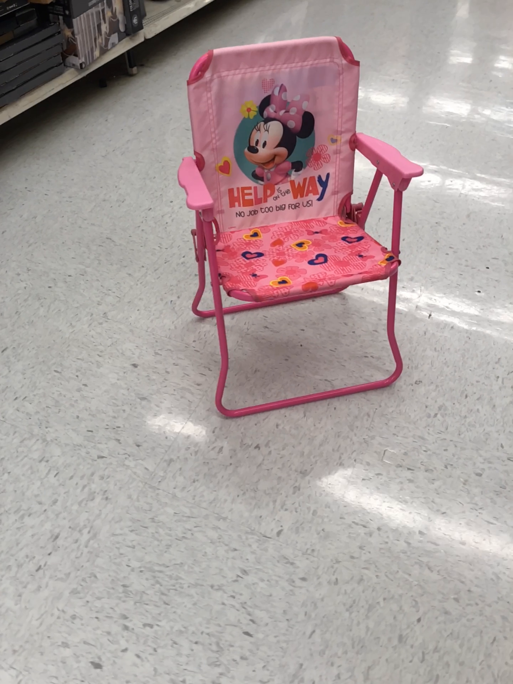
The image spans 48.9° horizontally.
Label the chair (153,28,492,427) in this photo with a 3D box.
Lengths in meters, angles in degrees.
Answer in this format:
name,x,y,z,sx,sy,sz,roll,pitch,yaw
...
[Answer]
name,x,y,z,sx,sy,sz,roll,pitch,yaw
chair,0.064,-0.177,0.926,0.360,0.488,0.341,-11,46,-9
